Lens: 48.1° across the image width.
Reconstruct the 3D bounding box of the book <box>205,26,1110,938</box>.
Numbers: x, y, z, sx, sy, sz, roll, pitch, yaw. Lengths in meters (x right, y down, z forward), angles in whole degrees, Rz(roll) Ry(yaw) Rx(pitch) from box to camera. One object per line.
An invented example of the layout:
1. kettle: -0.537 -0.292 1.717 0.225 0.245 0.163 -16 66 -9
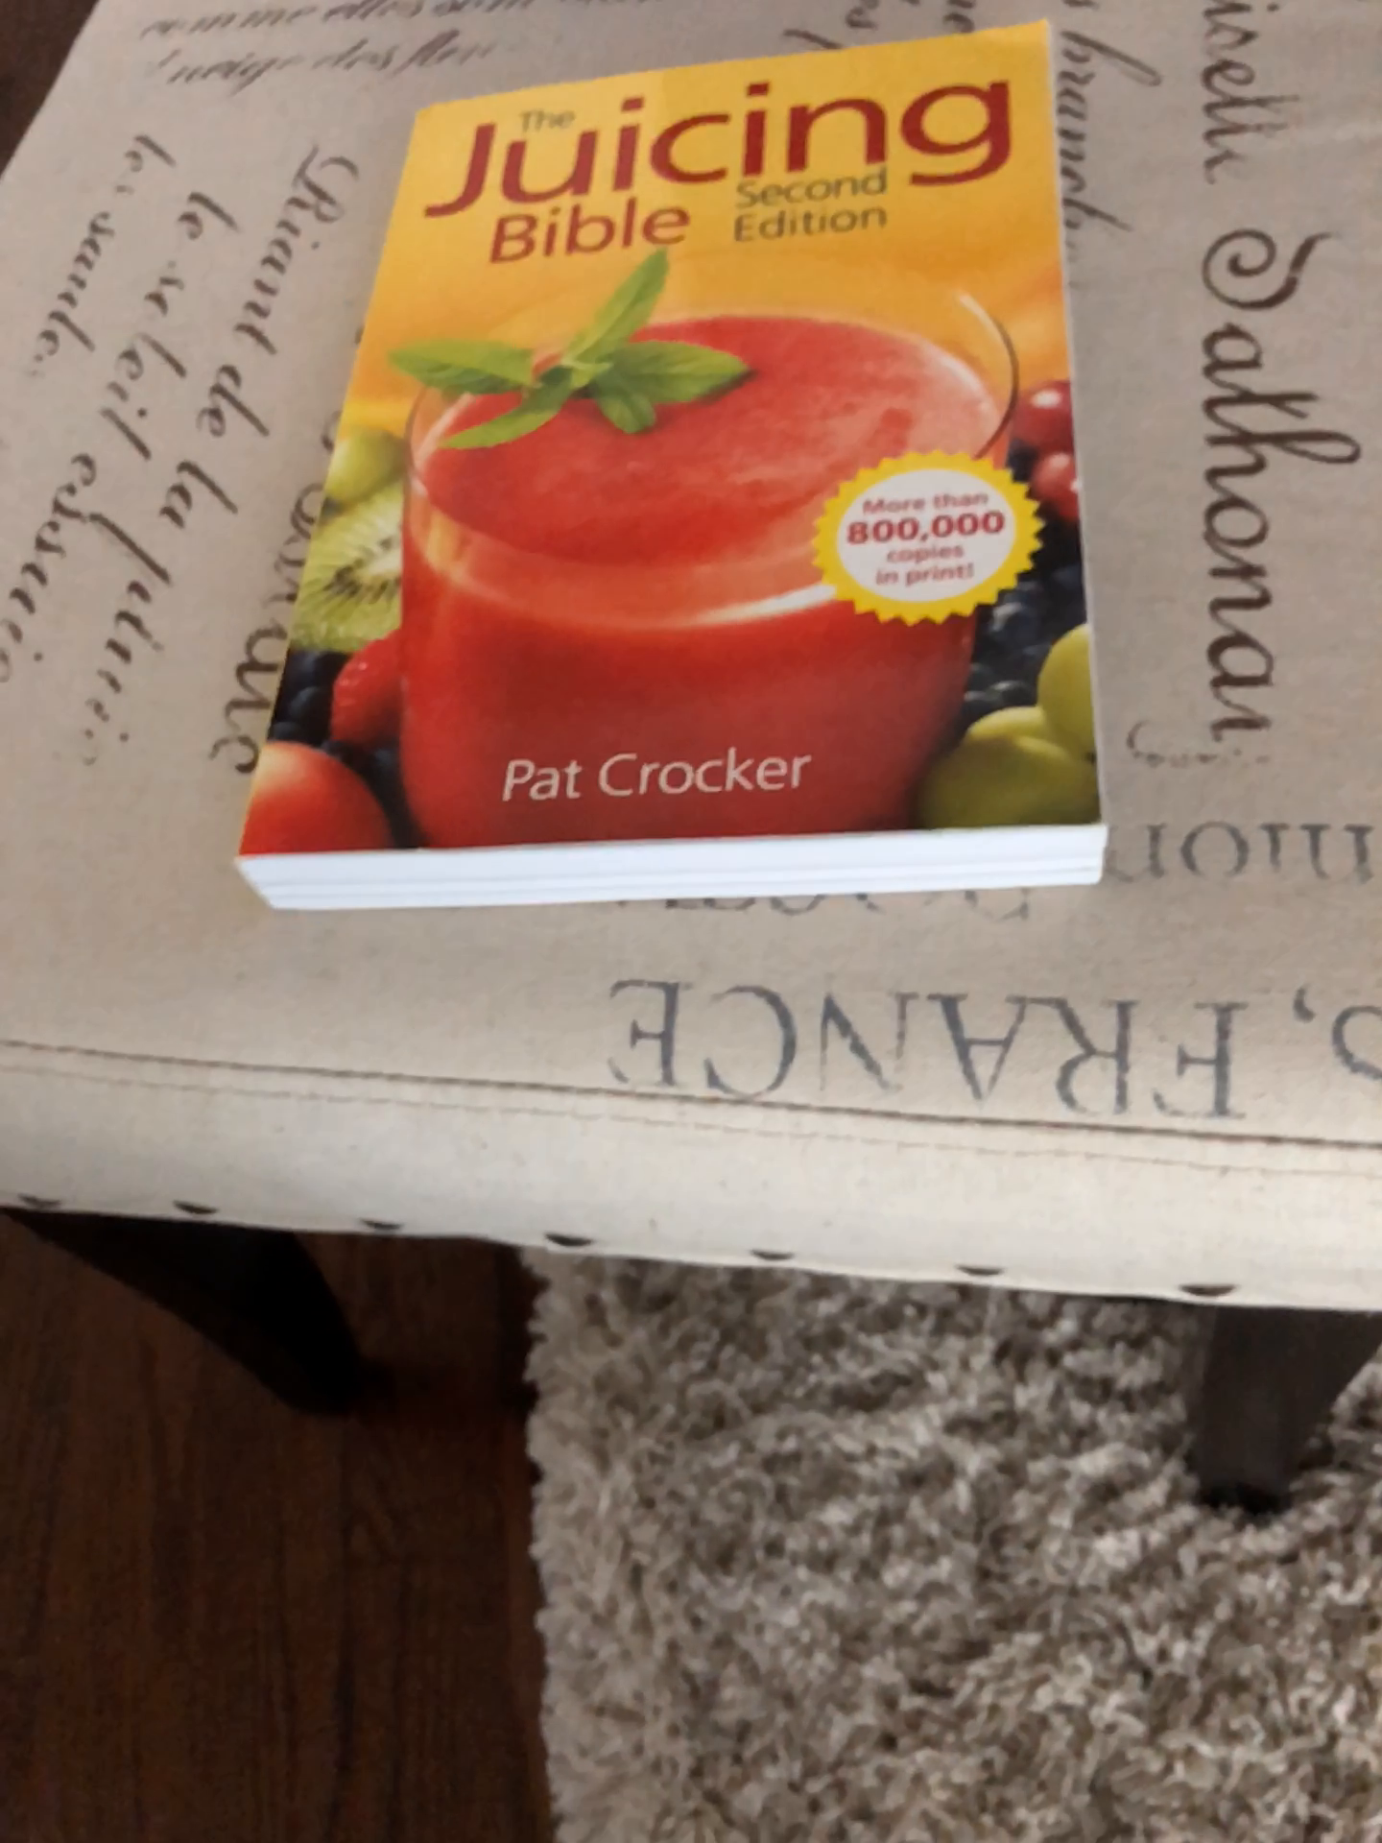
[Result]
1. book: 0.000 -0.115 0.374 0.180 0.030 0.250 -1 61 11
